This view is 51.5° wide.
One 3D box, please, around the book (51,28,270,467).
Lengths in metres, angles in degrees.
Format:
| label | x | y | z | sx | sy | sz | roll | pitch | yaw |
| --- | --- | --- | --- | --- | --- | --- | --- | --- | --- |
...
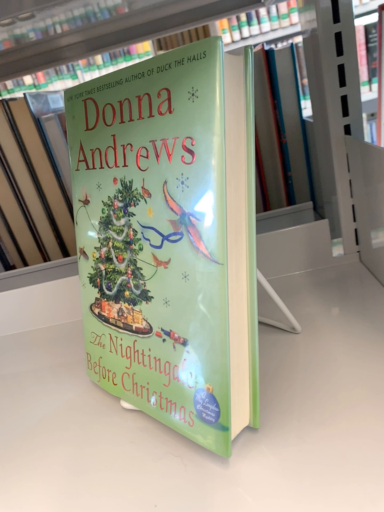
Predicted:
| label | x | y | z | sx | sy | sz | roll | pitch | yaw |
| --- | --- | --- | --- | --- | --- | --- | --- | --- | --- |
| book | -0.026 | -0.006 | 0.244 | 0.040 | 0.200 | 0.145 | -10 | 13 | -44 |
